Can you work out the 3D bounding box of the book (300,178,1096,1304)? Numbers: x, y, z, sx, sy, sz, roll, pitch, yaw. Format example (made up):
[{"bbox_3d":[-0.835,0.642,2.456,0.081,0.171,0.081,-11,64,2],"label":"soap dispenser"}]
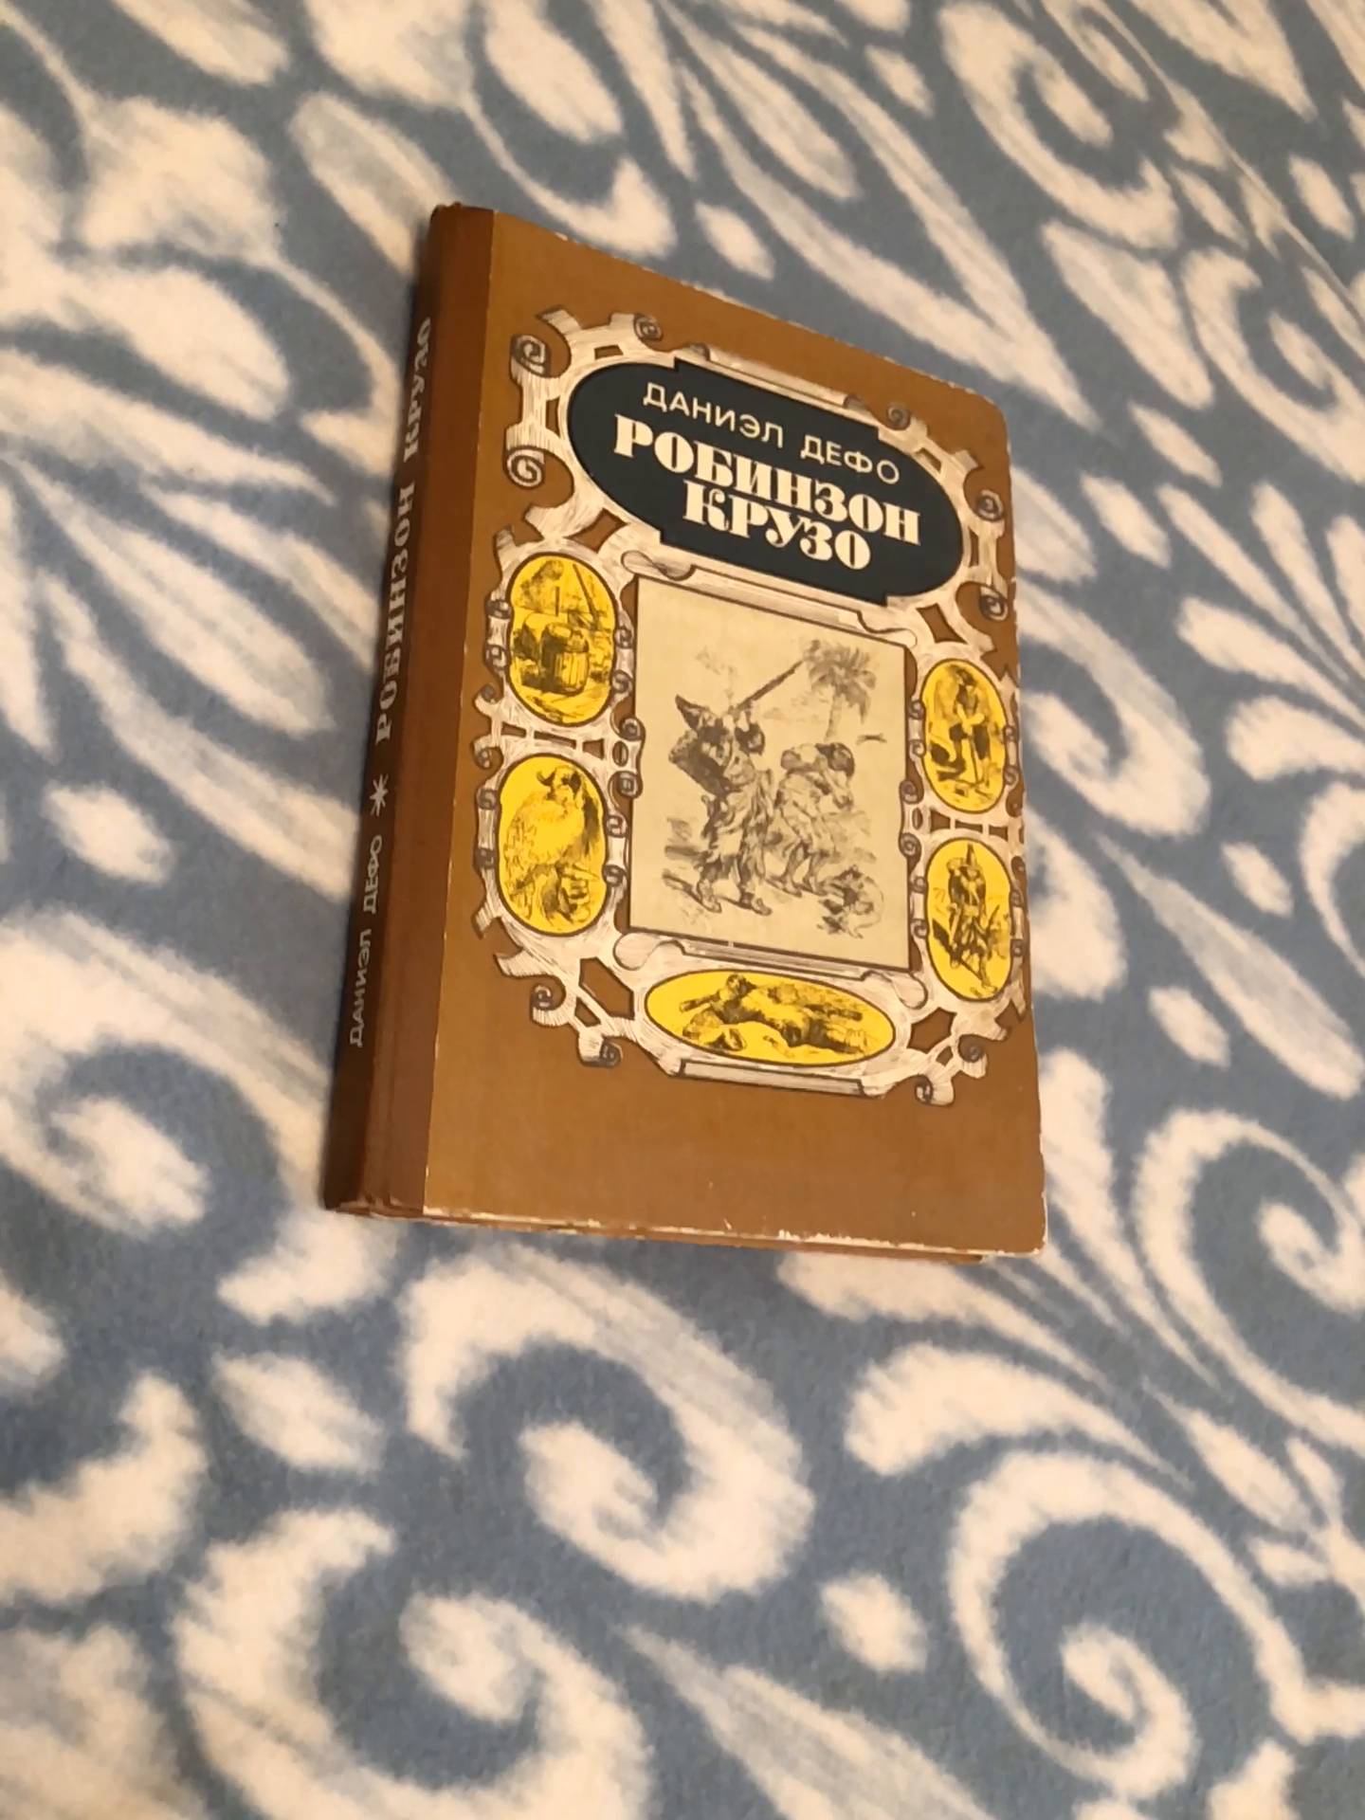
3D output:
[{"bbox_3d":[0.014,-0.036,0.360,0.179,0.024,0.242,10,71,-24],"label":"book"}]
